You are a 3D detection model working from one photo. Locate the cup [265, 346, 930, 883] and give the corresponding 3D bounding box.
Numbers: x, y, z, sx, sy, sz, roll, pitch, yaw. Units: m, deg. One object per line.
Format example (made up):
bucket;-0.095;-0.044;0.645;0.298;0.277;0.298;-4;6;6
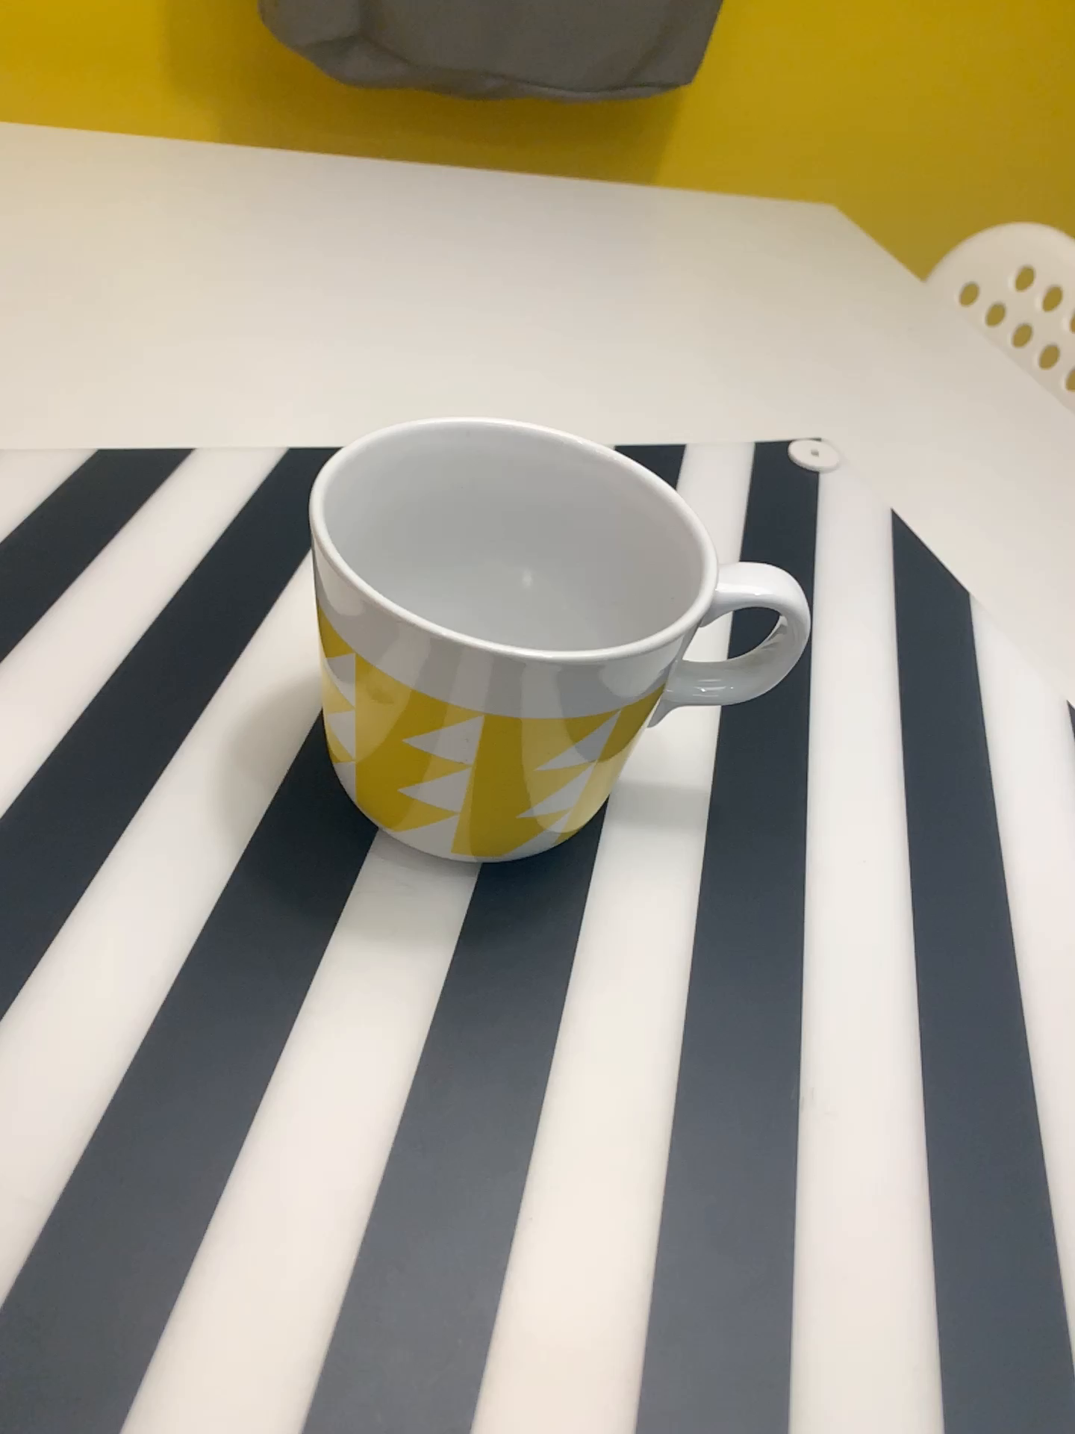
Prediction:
cup;0.005;-0.020;0.230;0.110;0.070;0.070;6;43;-9
